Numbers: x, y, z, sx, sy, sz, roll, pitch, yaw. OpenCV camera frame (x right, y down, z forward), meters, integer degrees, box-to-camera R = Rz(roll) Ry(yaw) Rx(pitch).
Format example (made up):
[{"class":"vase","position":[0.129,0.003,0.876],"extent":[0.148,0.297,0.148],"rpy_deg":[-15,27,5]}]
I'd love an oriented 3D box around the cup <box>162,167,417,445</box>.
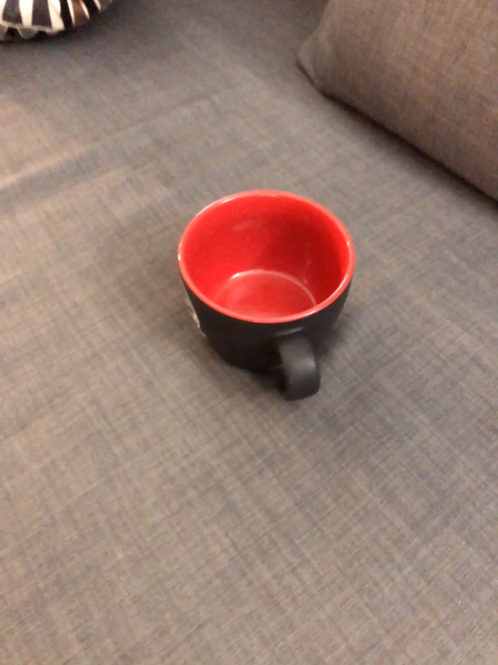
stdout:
[{"class":"cup","position":[0.018,-0.025,0.391],"extent":[0.120,0.080,0.161],"rpy_deg":[-13,53,-10]}]
